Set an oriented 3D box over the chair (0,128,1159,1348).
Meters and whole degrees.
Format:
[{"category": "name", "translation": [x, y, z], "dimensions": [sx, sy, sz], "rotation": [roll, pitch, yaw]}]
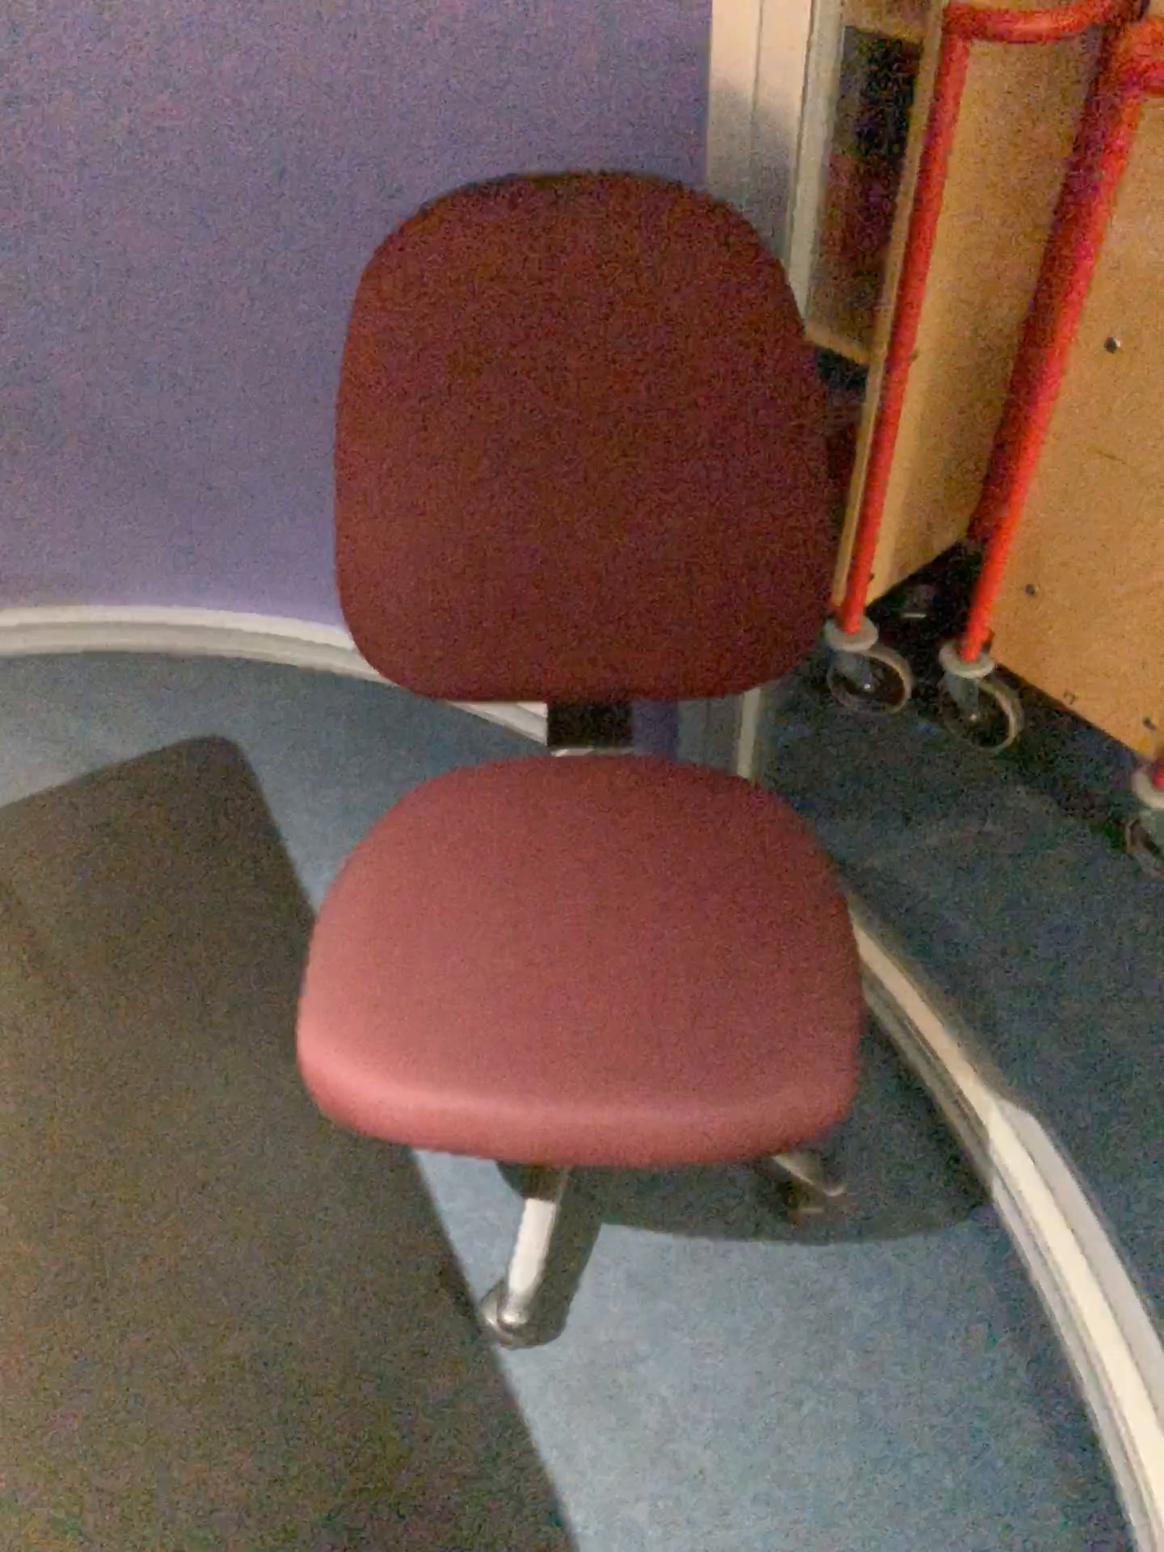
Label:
[{"category": "chair", "translation": [-0.009, -0.032, 1.120], "dimensions": [0.580, 0.773, 0.858], "rotation": [-1, 48, 2]}]
